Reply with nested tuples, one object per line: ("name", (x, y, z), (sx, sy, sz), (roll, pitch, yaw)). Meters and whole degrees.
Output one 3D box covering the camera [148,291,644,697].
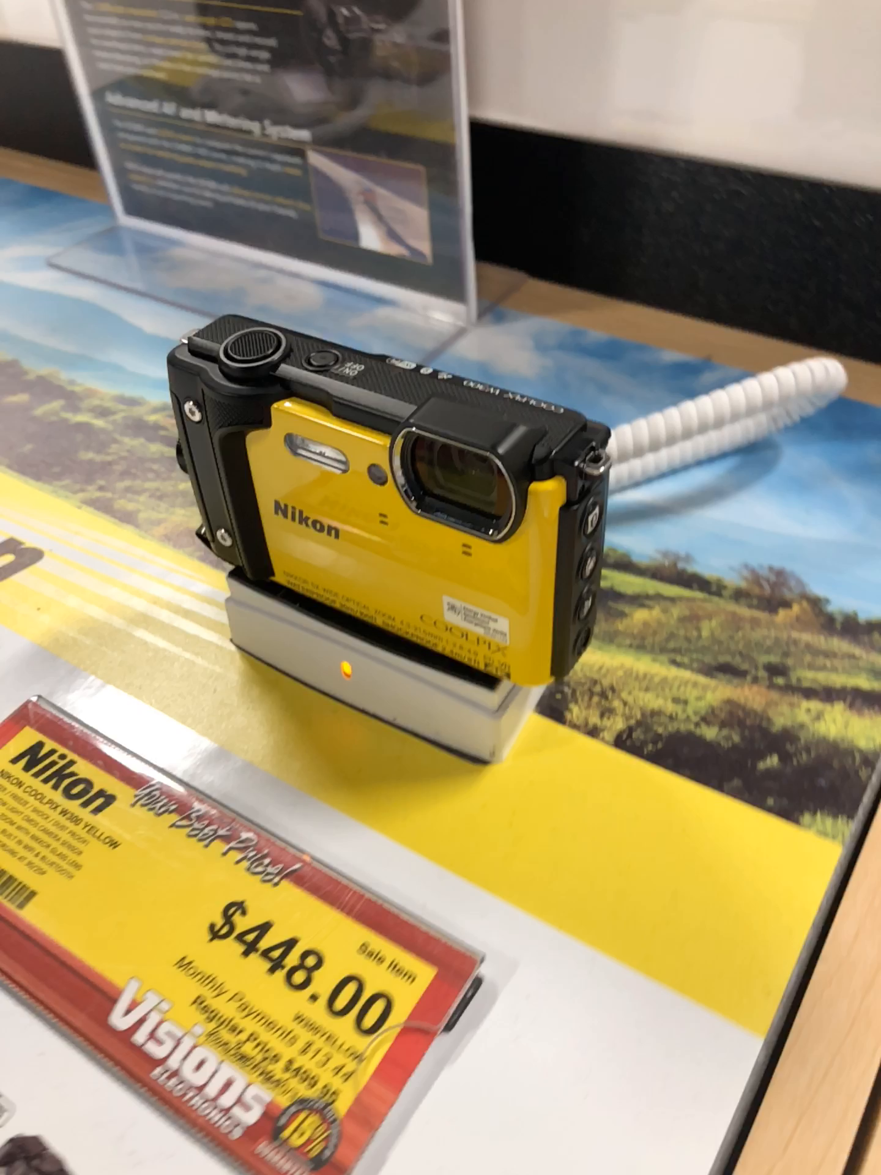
("camera", (-0.012, -0.025, 0.232), (0.110, 0.060, 0.030), (21, 47, 25))
